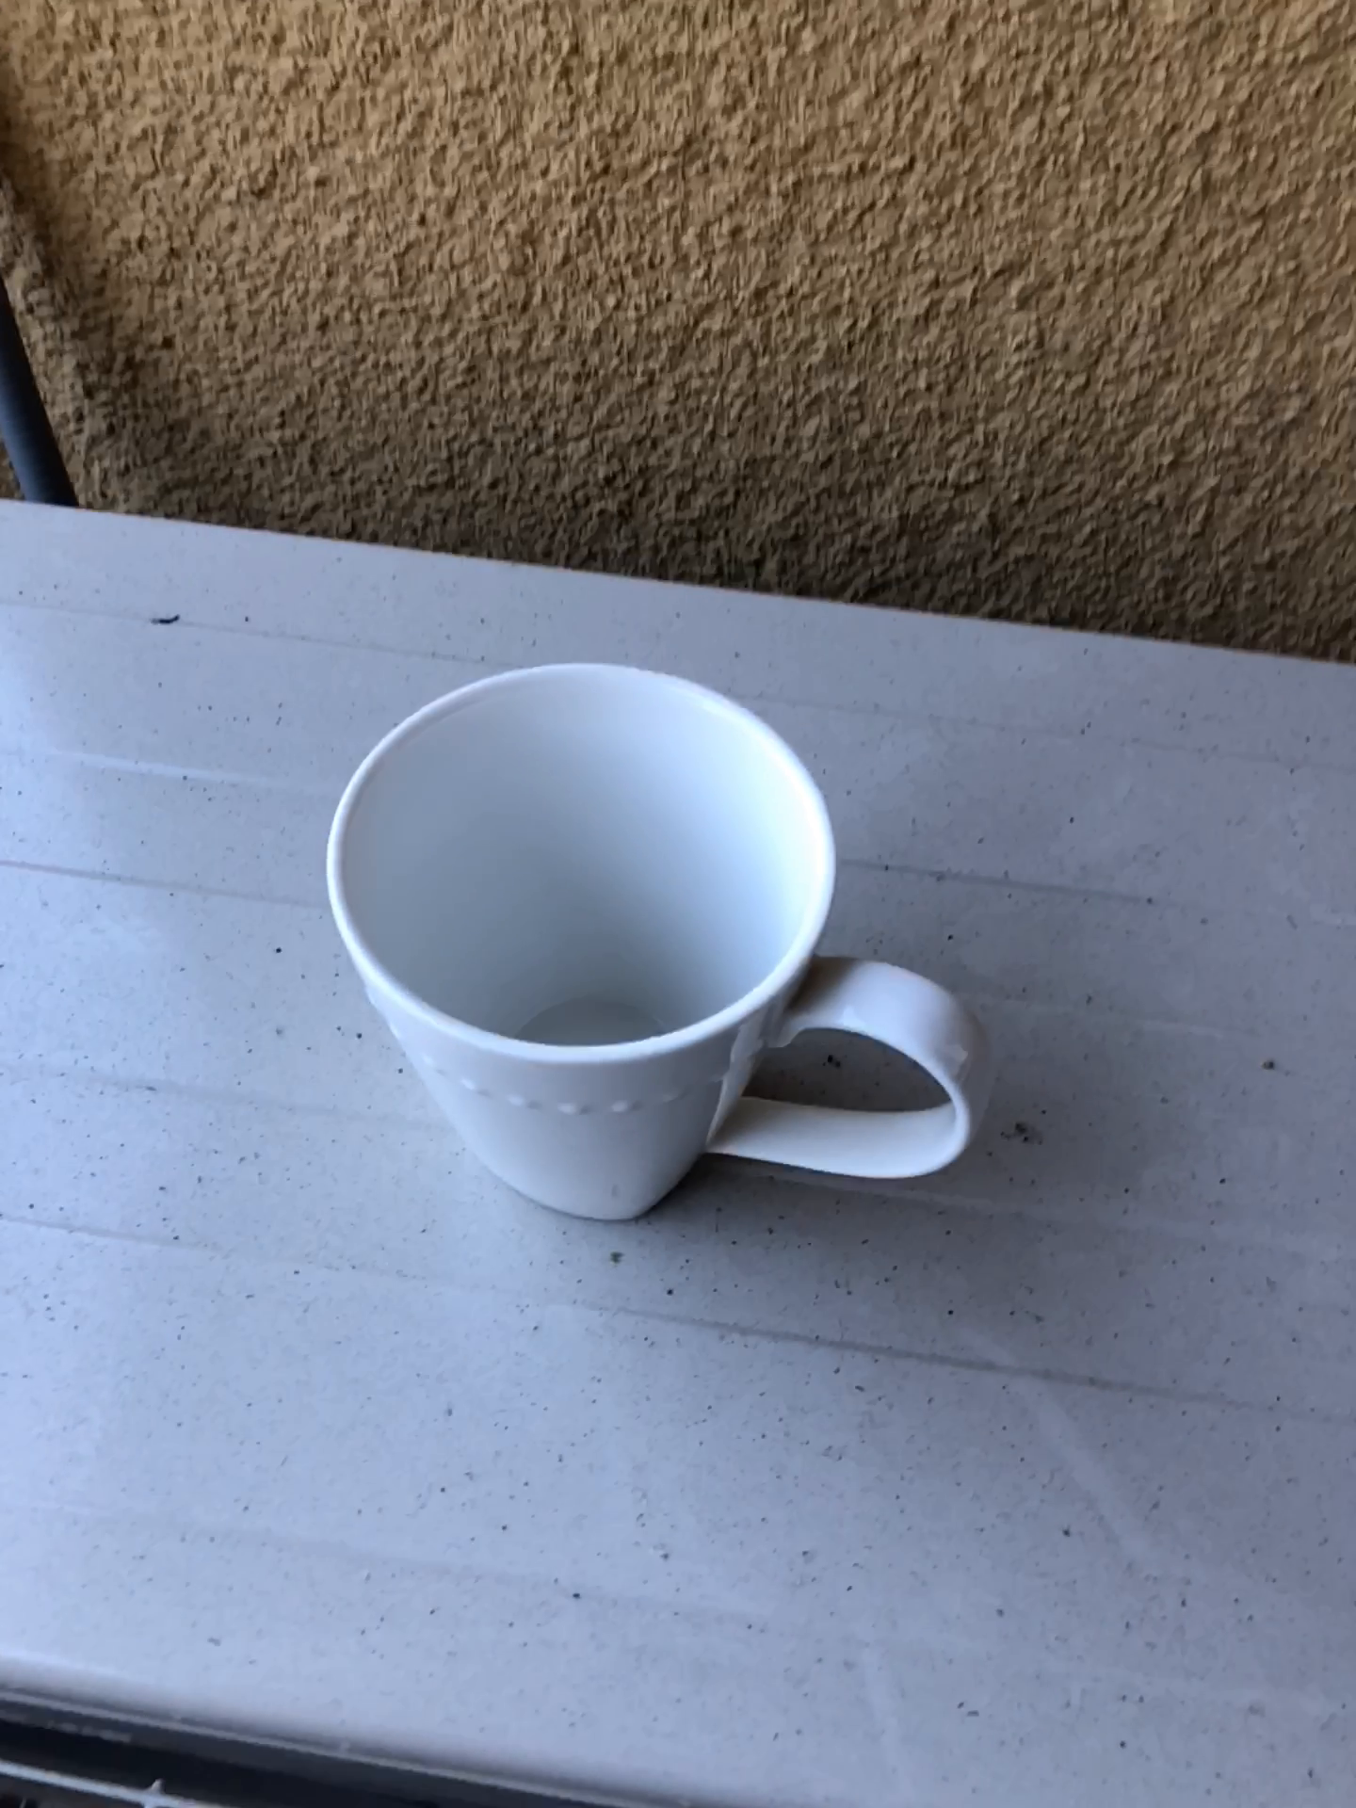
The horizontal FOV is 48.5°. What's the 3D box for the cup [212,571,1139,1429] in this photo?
[{"bbox_3d":[0.002,0.020,0.308,0.140,0.100,0.100,17,54,9],"label":"cup"}]
